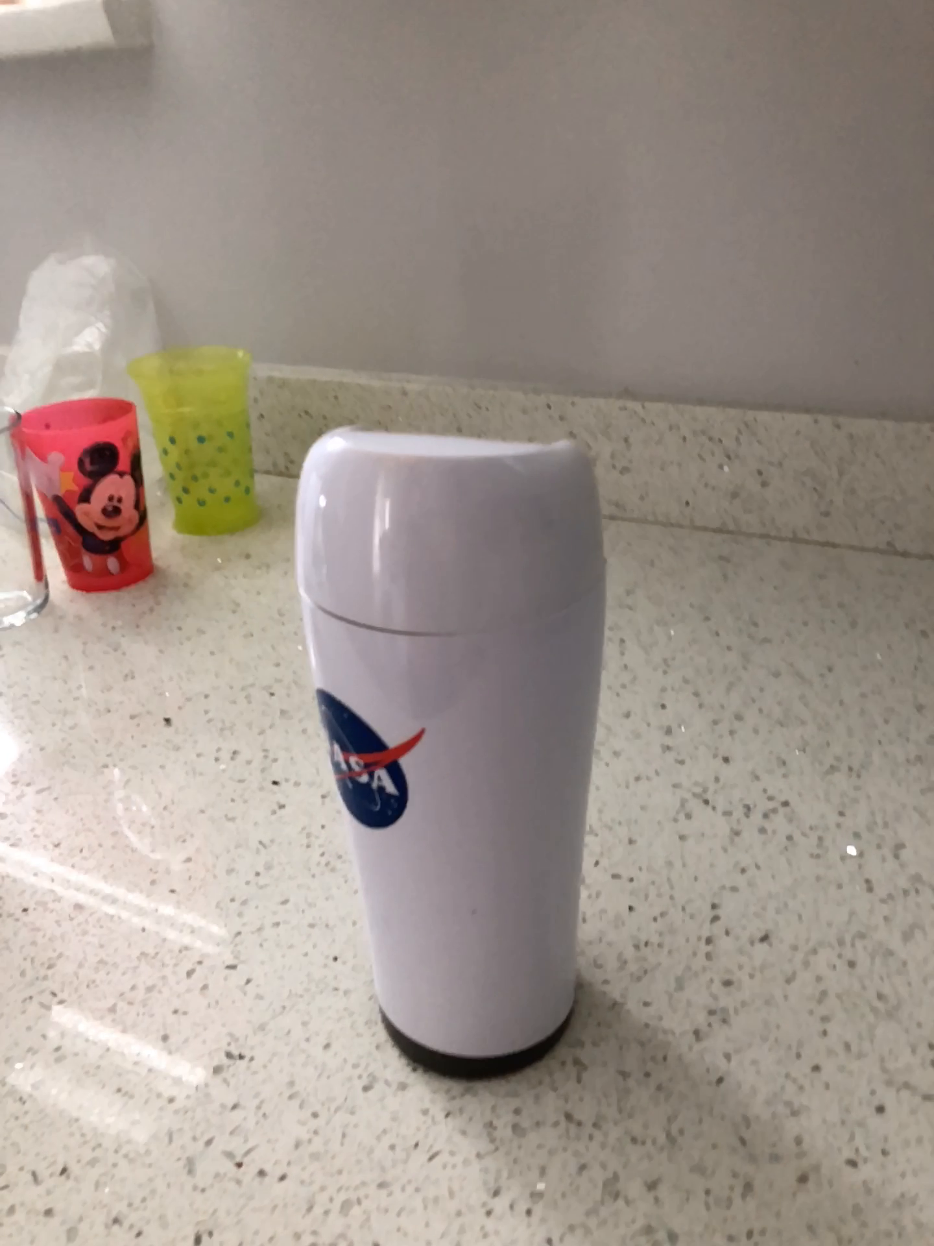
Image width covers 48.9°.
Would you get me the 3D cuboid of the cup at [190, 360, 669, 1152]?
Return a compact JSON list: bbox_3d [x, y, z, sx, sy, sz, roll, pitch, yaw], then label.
[{"bbox_3d":[-0.005,0.033,0.279,0.080,0.182,0.078,-3,27,1],"label":"cup"}]
